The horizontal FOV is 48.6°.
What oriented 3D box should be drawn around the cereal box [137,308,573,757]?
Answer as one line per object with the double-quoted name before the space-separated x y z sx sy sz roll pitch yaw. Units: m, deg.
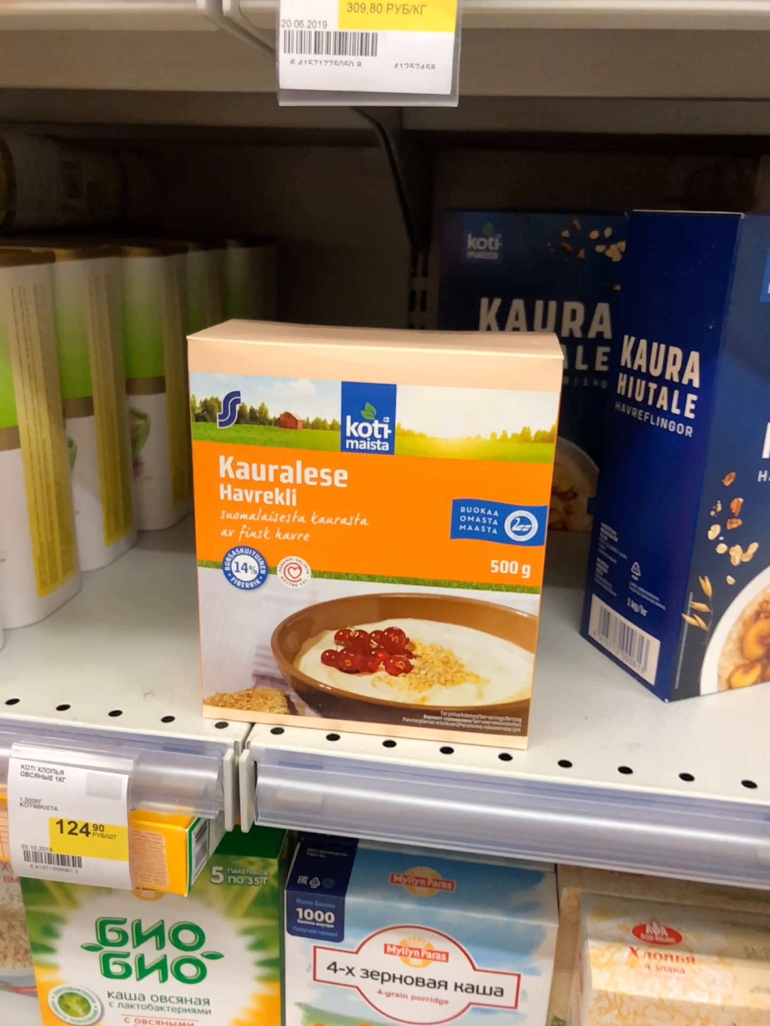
"cereal box" -0.011 0.005 0.370 0.160 0.169 0.070 4 19 7
